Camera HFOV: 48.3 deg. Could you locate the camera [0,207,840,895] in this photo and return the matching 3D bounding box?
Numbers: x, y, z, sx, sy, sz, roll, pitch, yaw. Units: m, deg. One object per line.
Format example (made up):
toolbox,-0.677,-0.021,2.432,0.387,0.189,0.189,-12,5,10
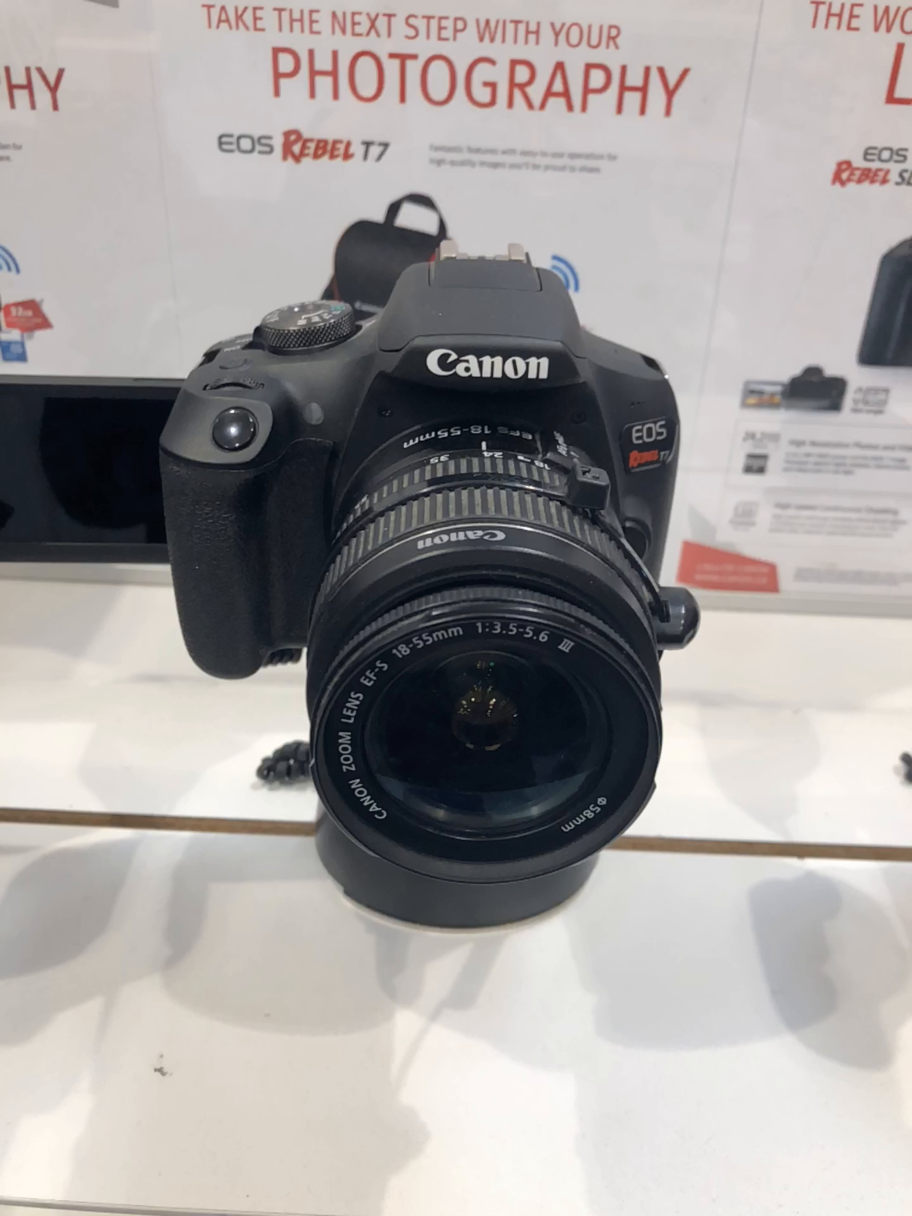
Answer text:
camera,-0.006,-0.026,0.240,0.130,0.099,0.141,3,31,1
